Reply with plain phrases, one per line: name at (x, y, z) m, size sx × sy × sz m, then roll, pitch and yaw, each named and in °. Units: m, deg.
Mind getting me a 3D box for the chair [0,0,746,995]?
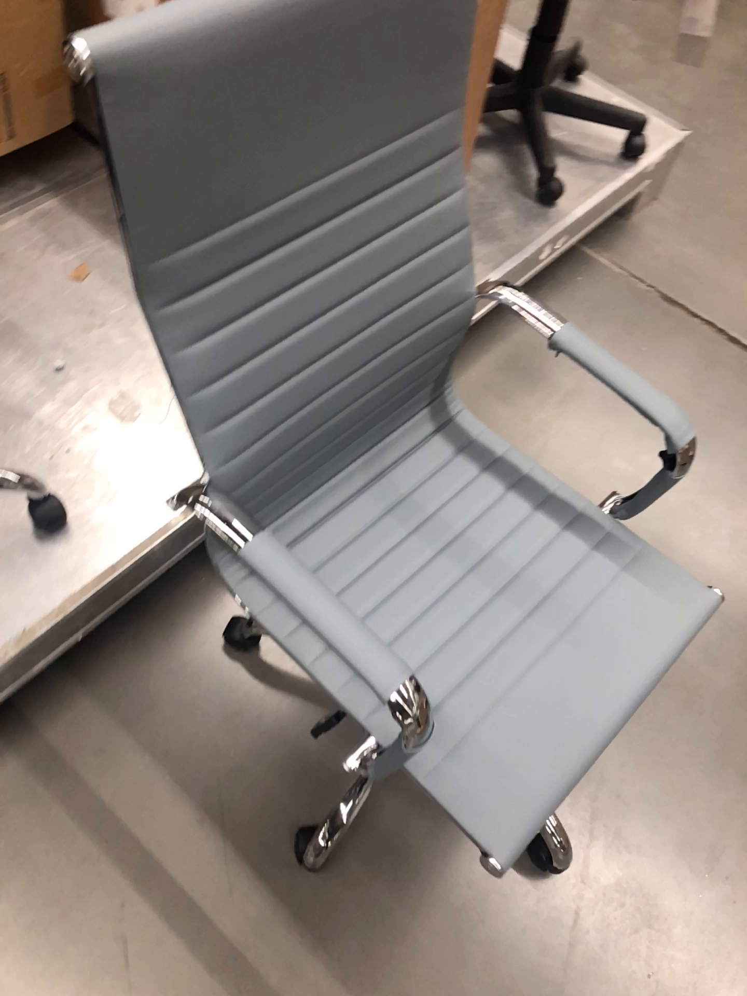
chair at (0.132, 0.077, 1.046) m, size 0.713 × 1.213 × 0.752 m, roll -38°, pitch 69°, yaw -27°
